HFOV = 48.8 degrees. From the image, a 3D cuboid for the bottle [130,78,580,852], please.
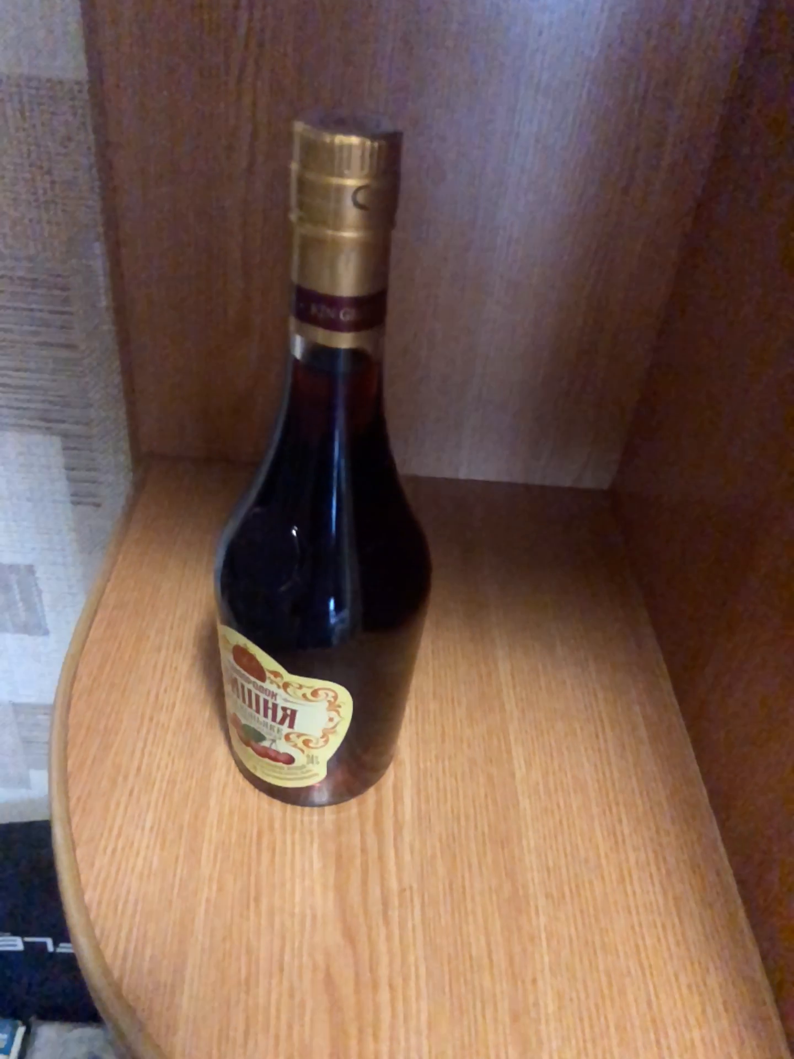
[{"bbox_3d":[-0.023,-0.011,0.307,0.090,0.244,0.080,32,43,28],"label":"bottle"}]
